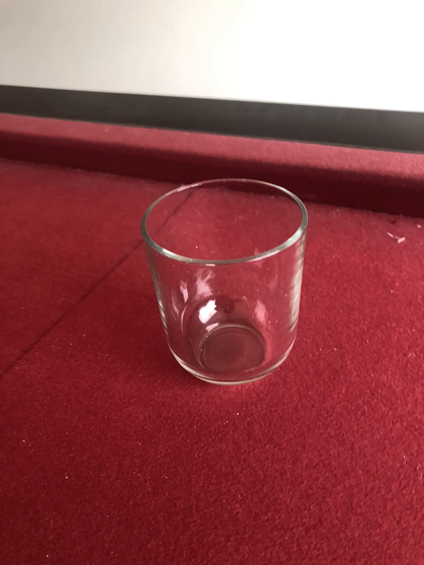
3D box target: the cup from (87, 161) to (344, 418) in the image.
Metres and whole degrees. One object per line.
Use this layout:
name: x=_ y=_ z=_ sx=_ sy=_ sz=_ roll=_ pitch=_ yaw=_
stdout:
cup: x=0.006 y=-0.003 z=0.225 sx=0.080 sy=0.070 sz=0.080 roll=-3 pitch=37 yaw=2
